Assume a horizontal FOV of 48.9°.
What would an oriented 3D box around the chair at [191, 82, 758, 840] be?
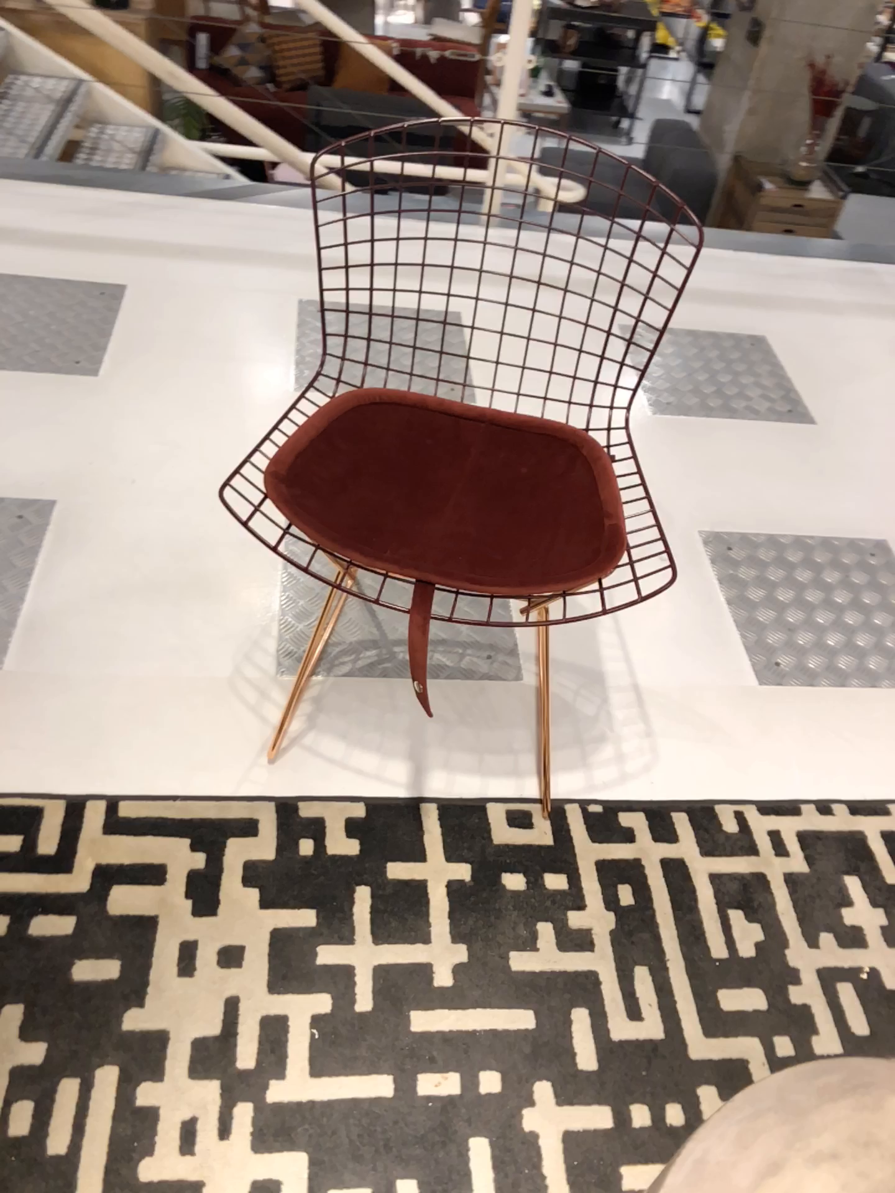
[{"bbox_3d":[0.014,-0.155,1.311,0.510,0.764,0.504,12,43,2],"label":"chair"}]
